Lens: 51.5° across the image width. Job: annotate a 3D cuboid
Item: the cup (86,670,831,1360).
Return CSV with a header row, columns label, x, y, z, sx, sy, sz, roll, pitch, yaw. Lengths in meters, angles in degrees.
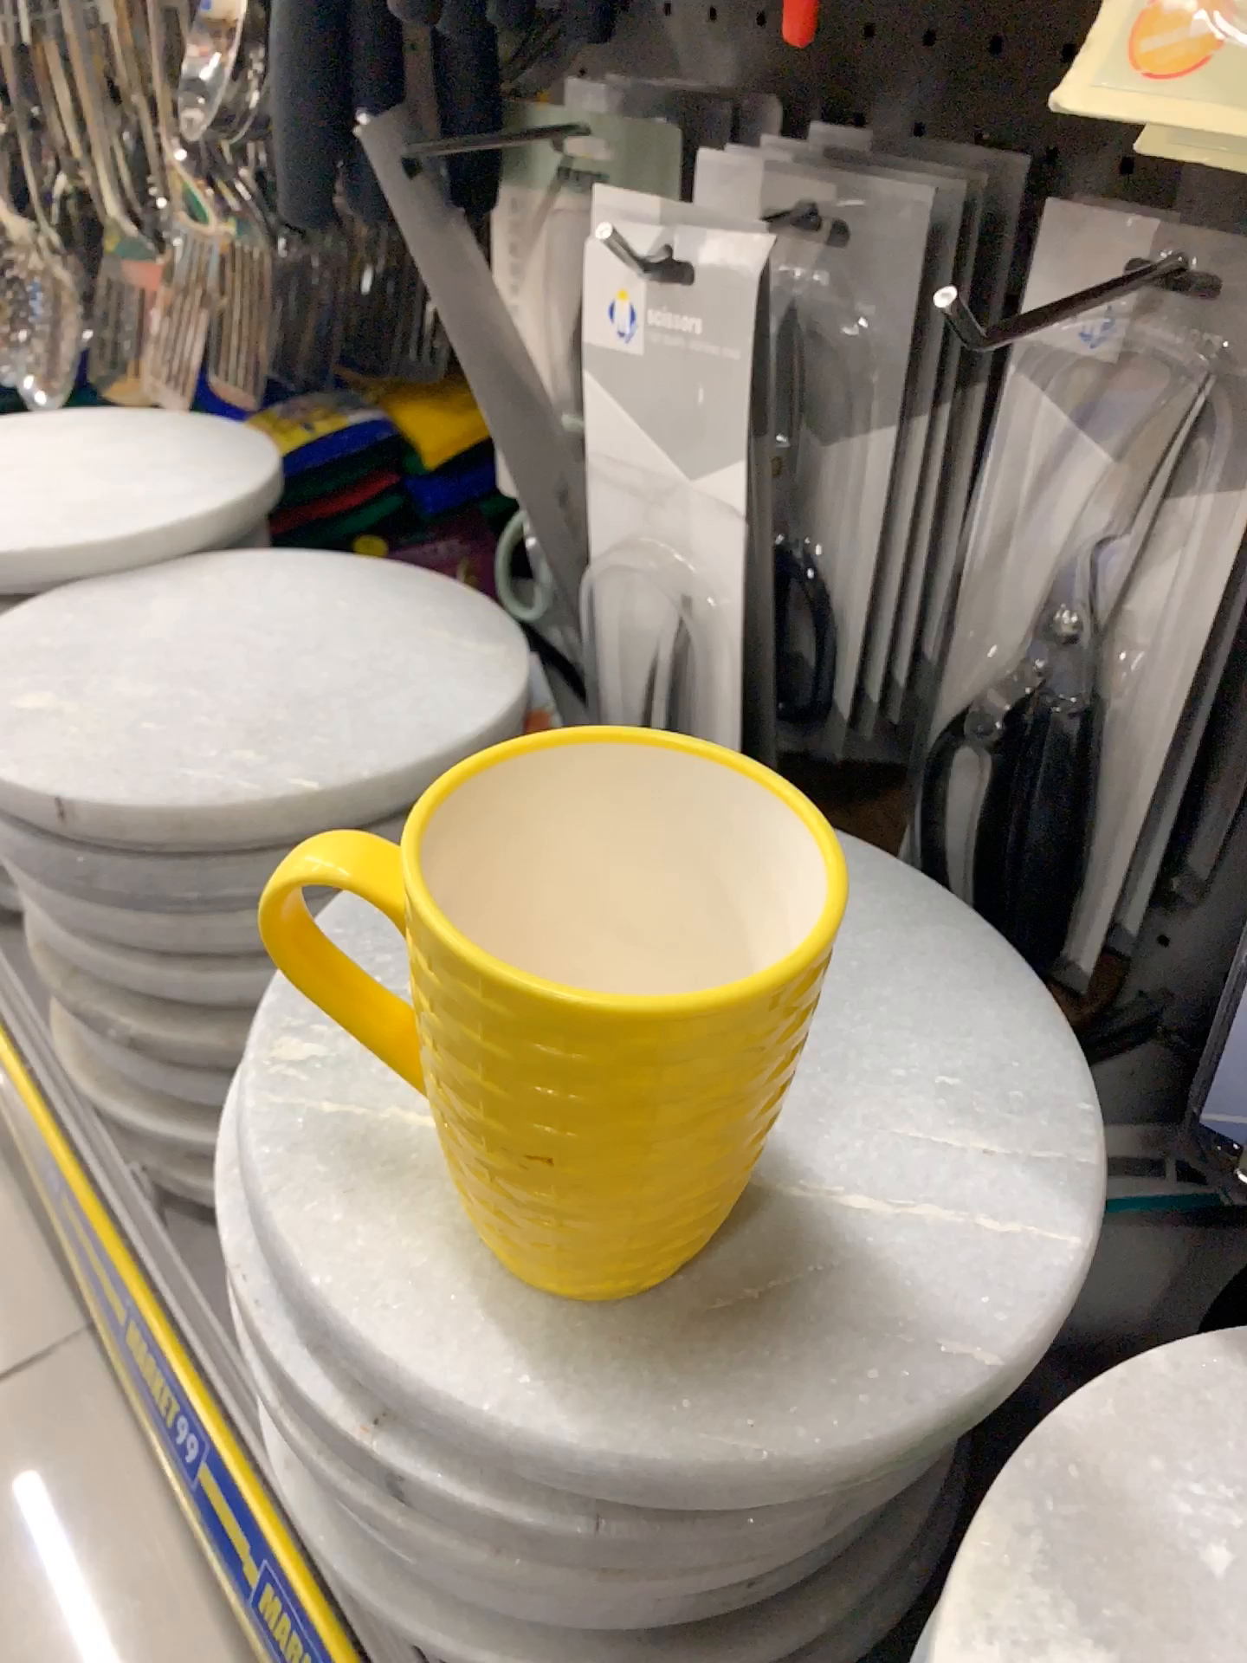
label,x,y,z,sx,sy,sz,roll,pitch,yaw
cup,-0.024,0.034,0.267,0.120,0.090,0.090,7,35,4
